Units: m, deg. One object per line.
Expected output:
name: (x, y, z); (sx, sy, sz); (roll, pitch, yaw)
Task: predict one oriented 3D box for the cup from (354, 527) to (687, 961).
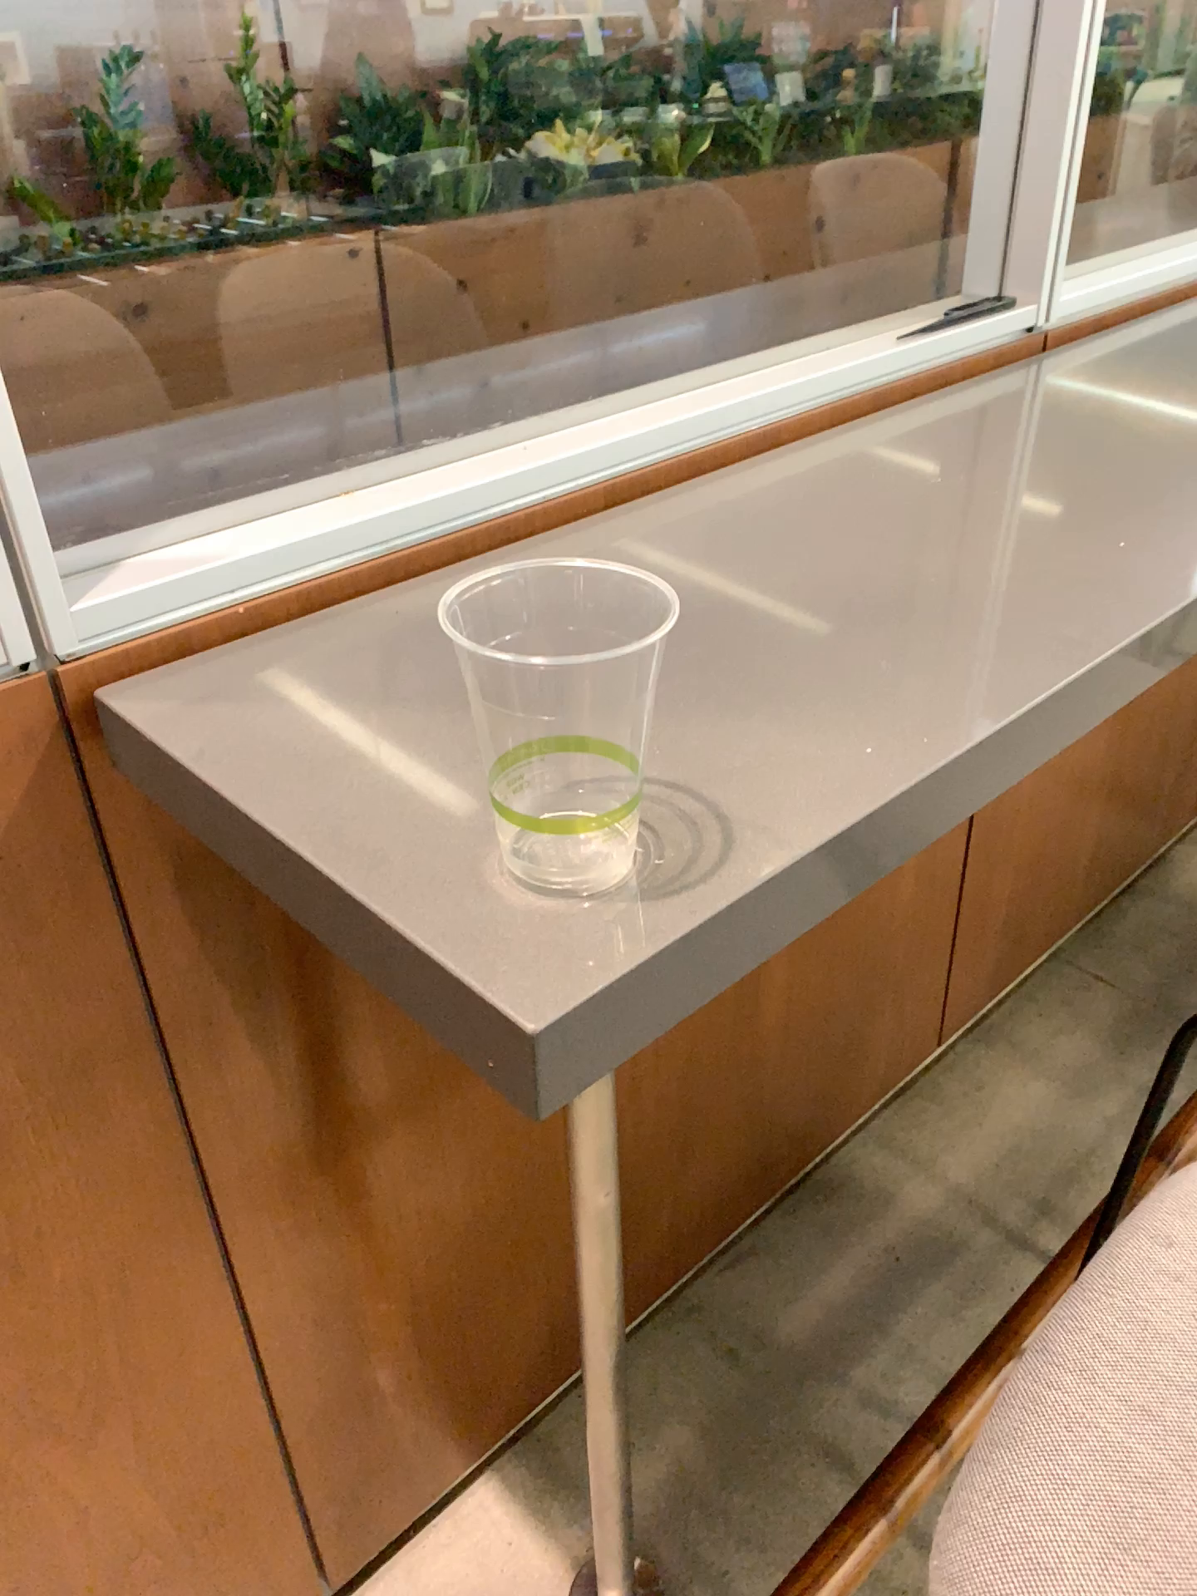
cup: (-0.029, -0.025, 0.498); (0.090, 0.129, 0.090); (-1, 32, 1)
